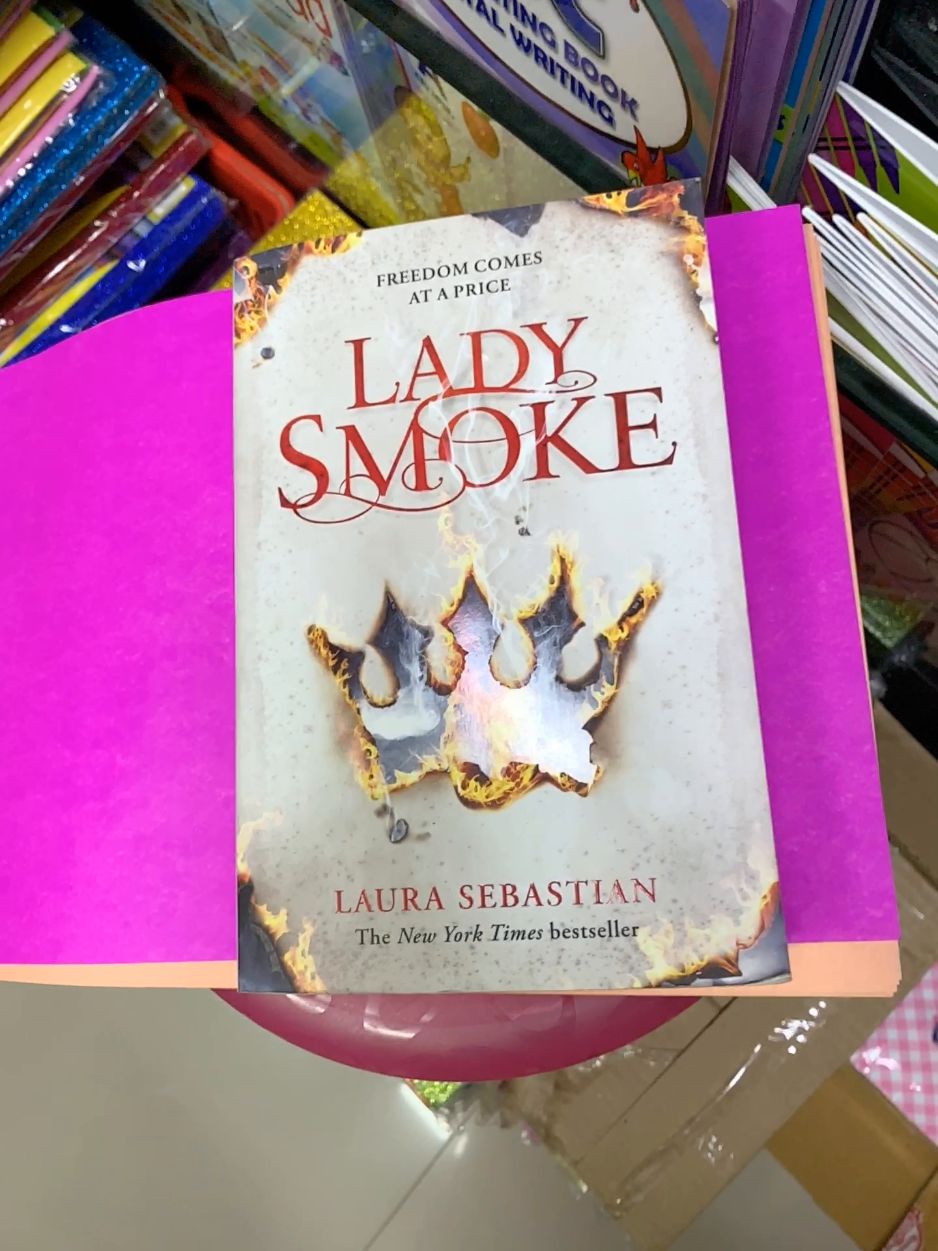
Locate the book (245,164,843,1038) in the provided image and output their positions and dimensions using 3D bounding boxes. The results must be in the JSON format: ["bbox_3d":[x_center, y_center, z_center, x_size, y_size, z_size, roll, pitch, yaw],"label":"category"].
[{"bbox_3d":[0.015,-0.004,0.255,0.130,0.050,0.200,-4,82,8],"label":"book"}]
